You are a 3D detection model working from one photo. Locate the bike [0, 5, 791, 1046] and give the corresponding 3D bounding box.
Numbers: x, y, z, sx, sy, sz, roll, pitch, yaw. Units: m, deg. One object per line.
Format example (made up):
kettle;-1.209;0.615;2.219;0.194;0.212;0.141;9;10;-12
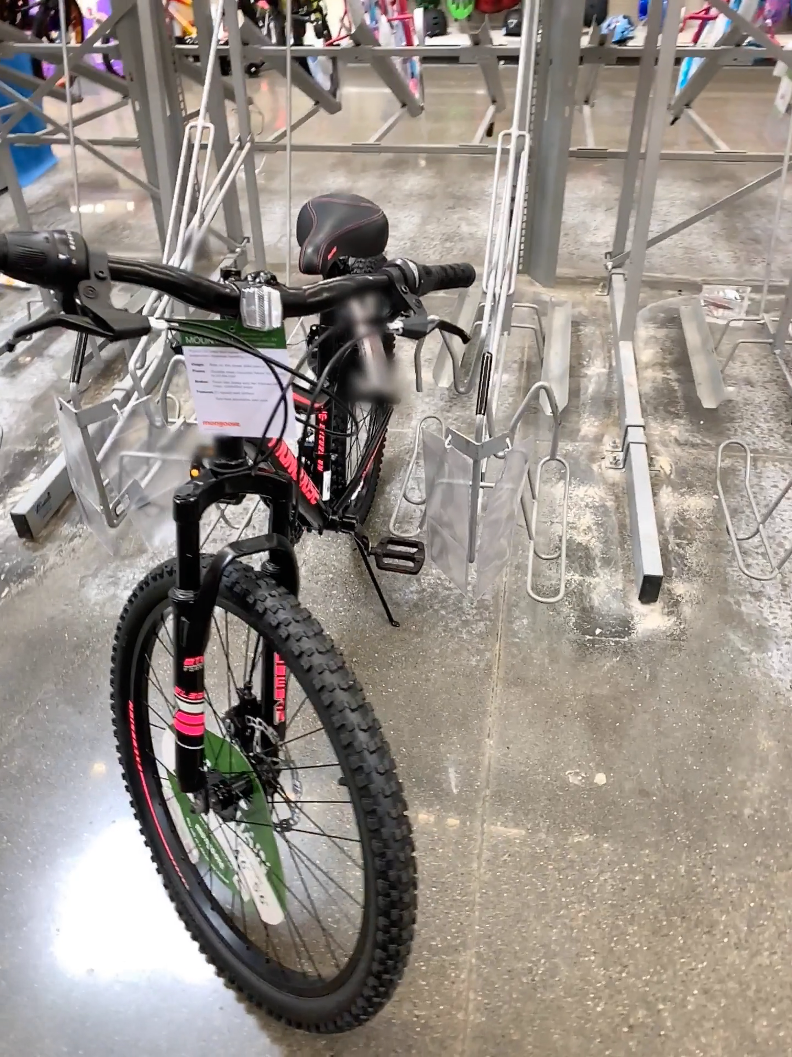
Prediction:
bike;0.004;-0.192;1.273;0.638;0.963;1.411;-2;38;0
